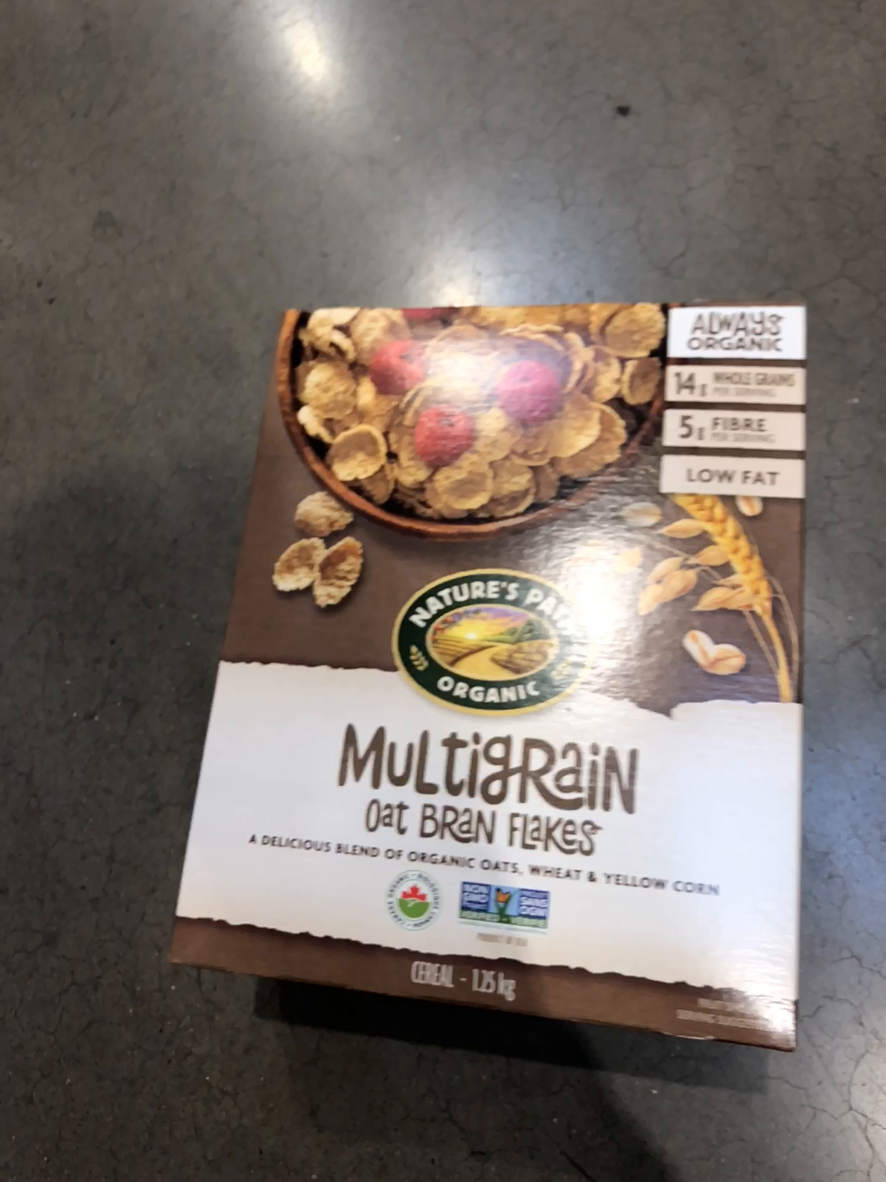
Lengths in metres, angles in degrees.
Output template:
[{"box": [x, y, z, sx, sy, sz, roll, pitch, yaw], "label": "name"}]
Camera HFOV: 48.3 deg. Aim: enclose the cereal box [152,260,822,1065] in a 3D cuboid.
[{"box": [0.034, 0.019, 0.448, 0.240, 0.110, 0.310, 3, 73, 13], "label": "cereal box"}]
